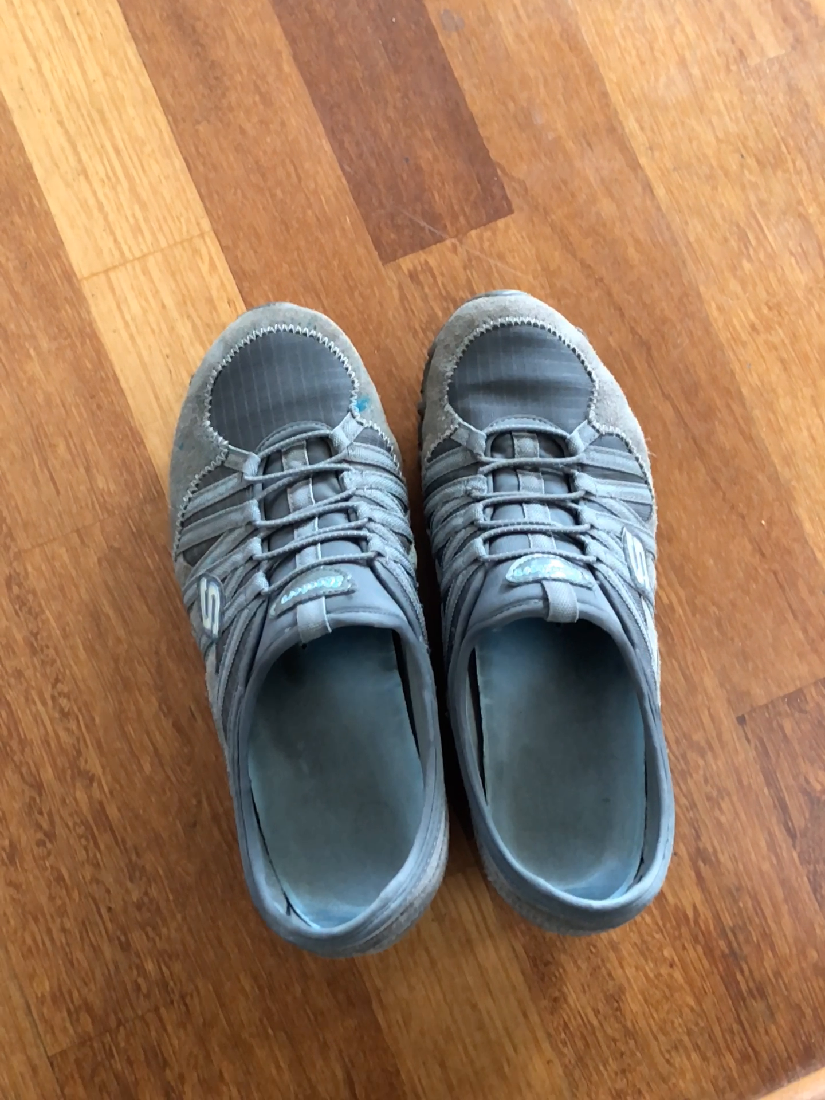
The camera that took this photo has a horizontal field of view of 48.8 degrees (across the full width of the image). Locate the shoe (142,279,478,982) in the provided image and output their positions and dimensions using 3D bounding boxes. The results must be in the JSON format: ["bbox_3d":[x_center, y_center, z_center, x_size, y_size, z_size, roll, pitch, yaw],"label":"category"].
[{"bbox_3d":[-0.042,0.029,0.394,0.096,0.106,0.253,-7,86,-4],"label":"shoe"}]

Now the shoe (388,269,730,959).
[{"bbox_3d":[0.053,0.024,0.395,0.093,0.106,0.249,-7,86,-4],"label":"shoe"}]
